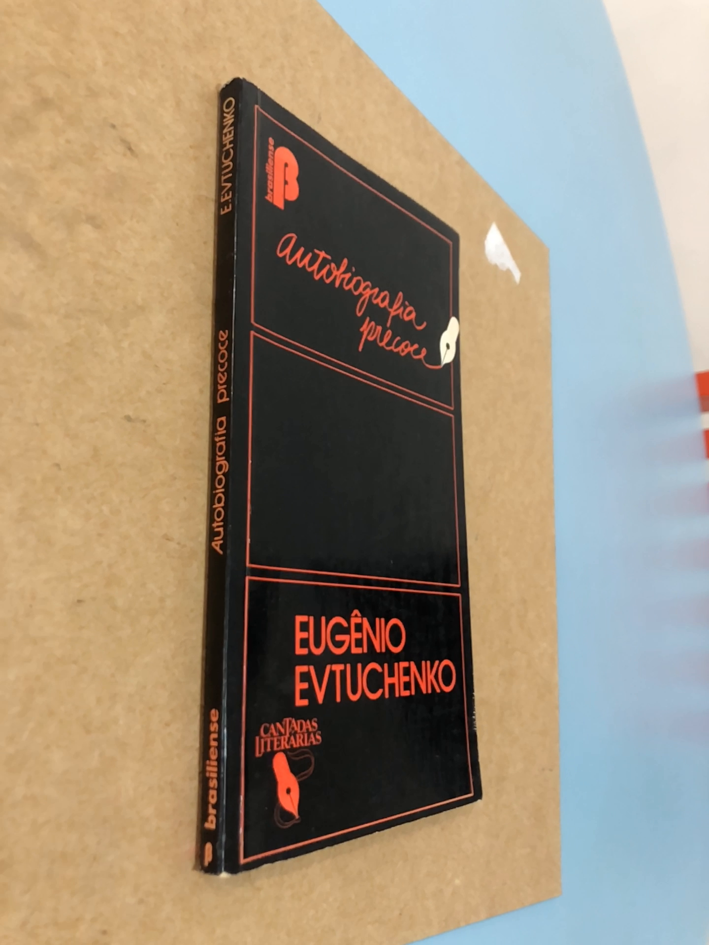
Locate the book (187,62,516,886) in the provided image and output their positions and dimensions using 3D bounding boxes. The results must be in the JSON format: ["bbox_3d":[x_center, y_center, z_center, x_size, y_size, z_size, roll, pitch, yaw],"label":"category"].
[{"bbox_3d":[0.006,0.000,0.226,0.115,0.016,0.190,14,70,-49],"label":"book"}]
